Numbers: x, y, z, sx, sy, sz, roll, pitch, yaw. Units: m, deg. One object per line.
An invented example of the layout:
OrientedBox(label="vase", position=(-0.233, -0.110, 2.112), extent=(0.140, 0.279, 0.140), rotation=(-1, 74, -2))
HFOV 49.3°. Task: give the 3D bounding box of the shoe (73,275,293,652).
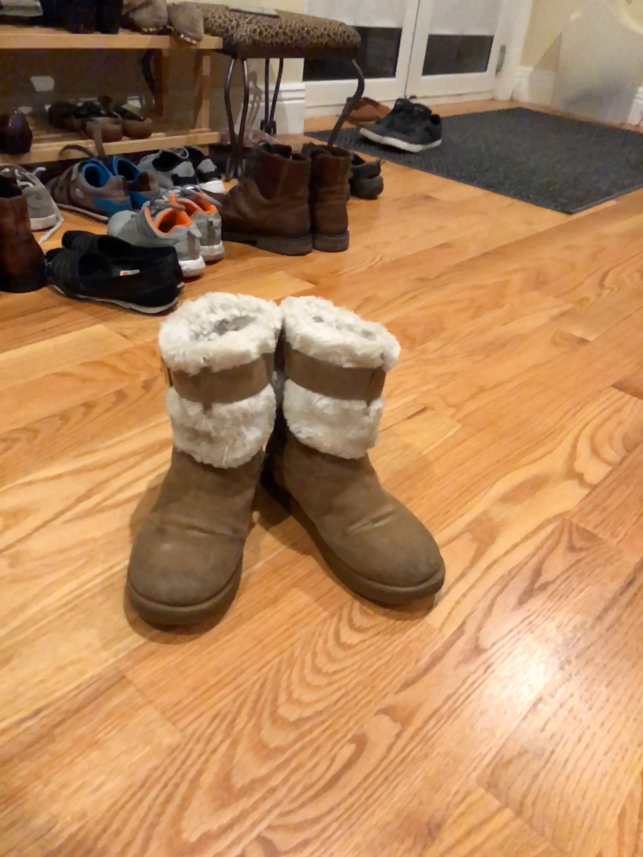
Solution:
OrientedBox(label="shoe", position=(-0.100, 0.014, 0.591), extent=(0.106, 0.193, 0.256), rotation=(7, 33, 1))

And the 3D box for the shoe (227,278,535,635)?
OrientedBox(label="shoe", position=(0.030, 0.010, 0.628), extent=(0.113, 0.193, 0.255), rotation=(-17, 40, -32))
